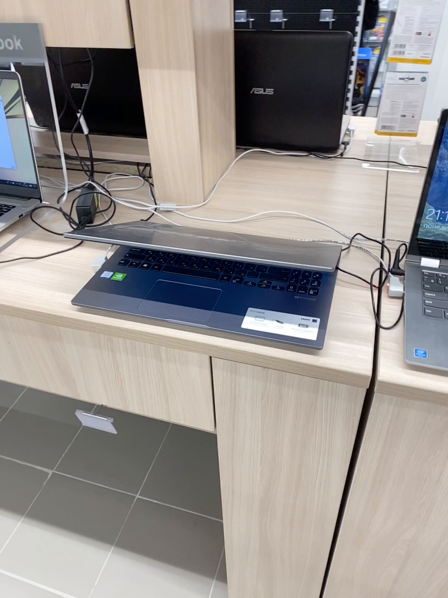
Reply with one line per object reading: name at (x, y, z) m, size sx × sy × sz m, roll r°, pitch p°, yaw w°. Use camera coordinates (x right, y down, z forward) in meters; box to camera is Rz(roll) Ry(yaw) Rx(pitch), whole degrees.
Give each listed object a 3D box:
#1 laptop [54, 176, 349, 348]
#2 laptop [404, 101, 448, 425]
laptop at (-0.016, -0.074, 0.666) m, size 0.355 × 0.097 × 0.230 m, roll 10°, pitch 38°, yaw 15°
laptop at (0.421, -0.067, 0.531) m, size 0.352 × 0.222 × 0.259 m, roll 9°, pitch 39°, yaw 13°
